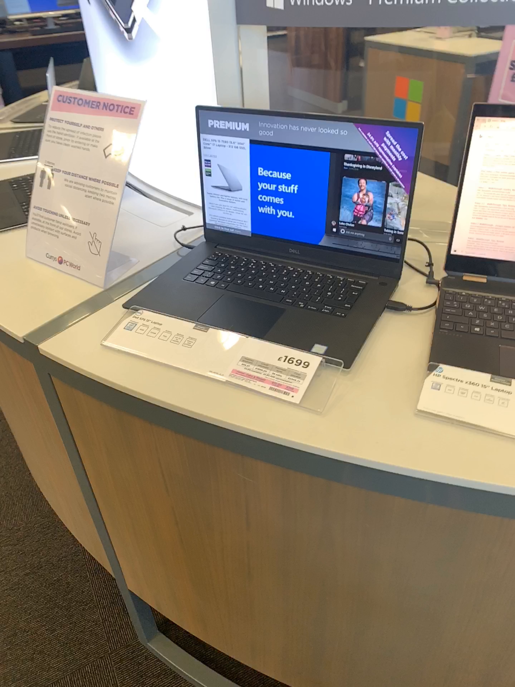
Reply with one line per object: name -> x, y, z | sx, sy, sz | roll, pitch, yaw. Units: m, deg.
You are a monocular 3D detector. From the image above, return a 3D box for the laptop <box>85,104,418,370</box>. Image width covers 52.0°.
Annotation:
laptop -> 0.005, -0.172, 0.735 | 0.351, 0.224, 0.254 | 15, 40, 23
